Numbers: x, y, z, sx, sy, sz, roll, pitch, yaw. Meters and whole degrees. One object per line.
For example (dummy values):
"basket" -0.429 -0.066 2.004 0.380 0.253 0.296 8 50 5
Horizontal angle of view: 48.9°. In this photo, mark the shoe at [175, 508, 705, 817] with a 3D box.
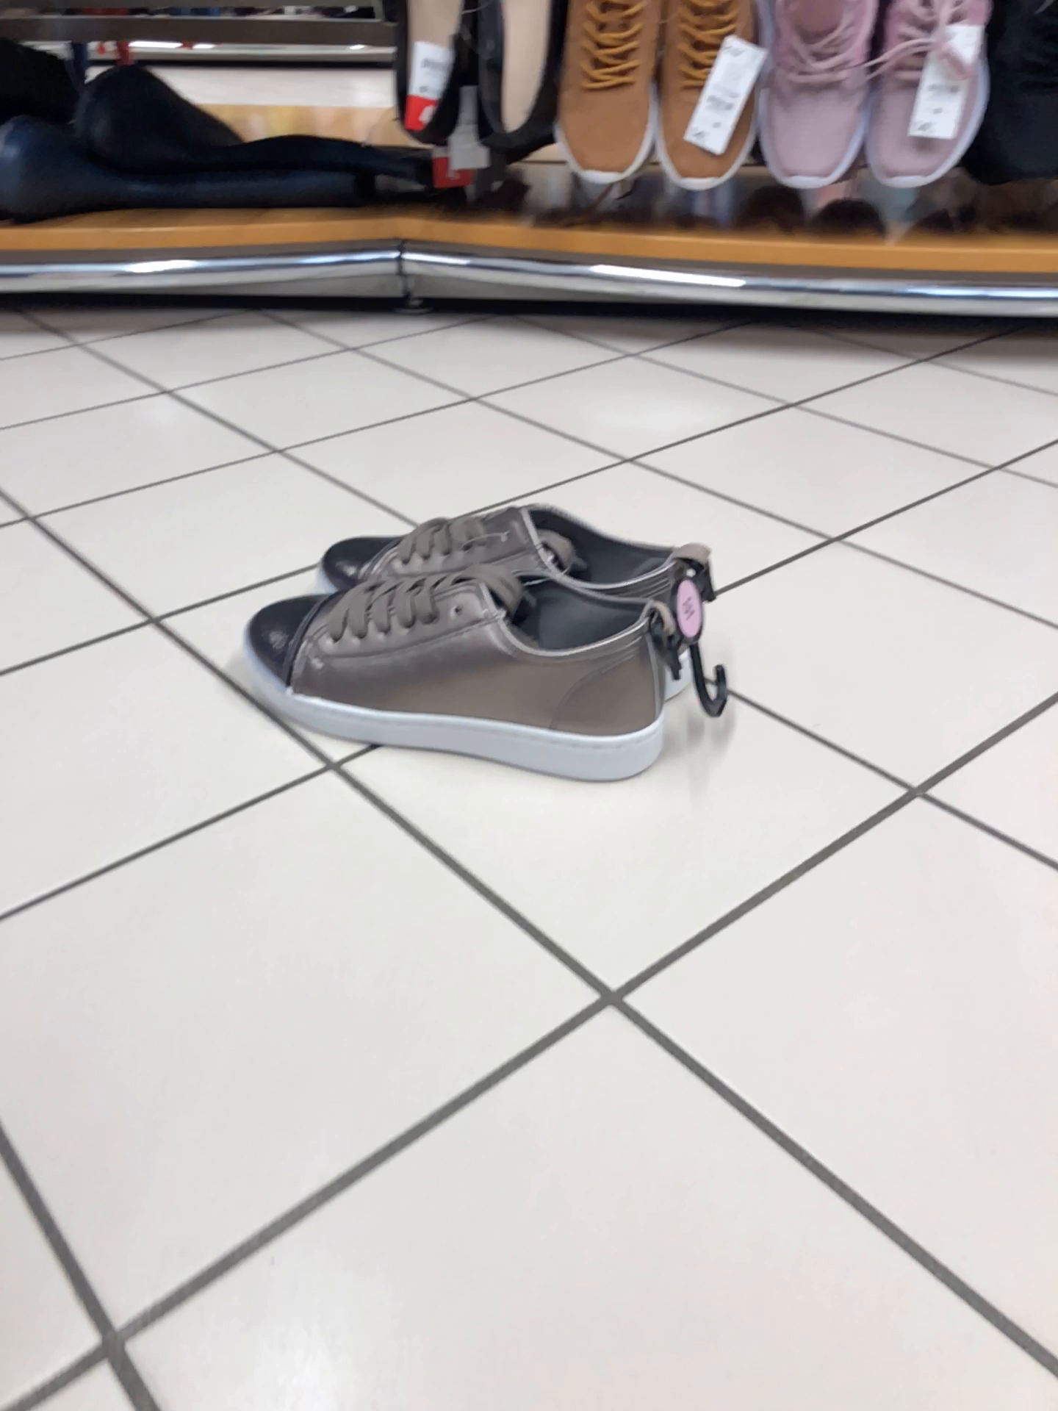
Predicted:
"shoe" -0.043 -0.028 0.584 0.240 0.080 0.091 11 35 17

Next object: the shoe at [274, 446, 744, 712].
"shoe" -0.012 -0.077 0.655 0.240 0.080 0.091 12 35 19
